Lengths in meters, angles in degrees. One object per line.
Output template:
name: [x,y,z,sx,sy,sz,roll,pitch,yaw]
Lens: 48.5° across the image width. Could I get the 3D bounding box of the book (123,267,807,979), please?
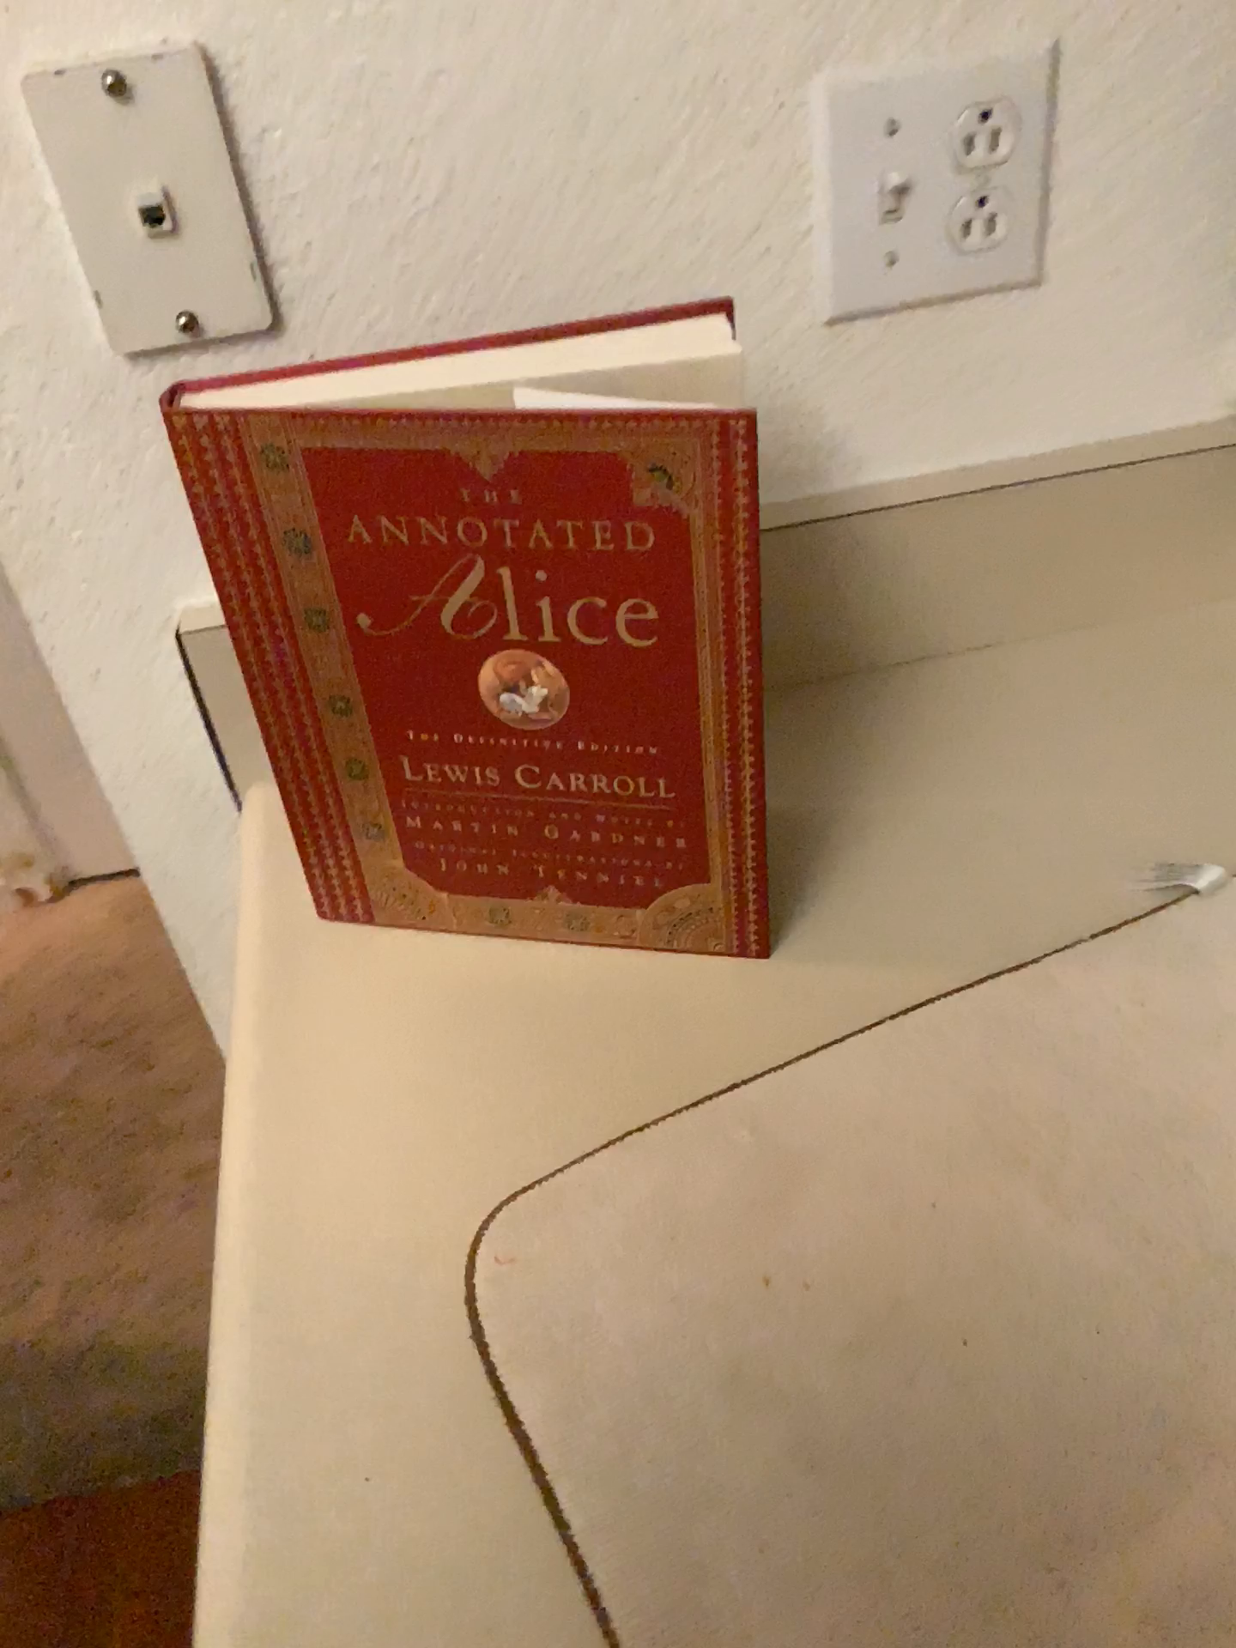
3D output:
book: [-0.038,-0.079,0.604,0.230,0.260,0.150,0,40,10]
